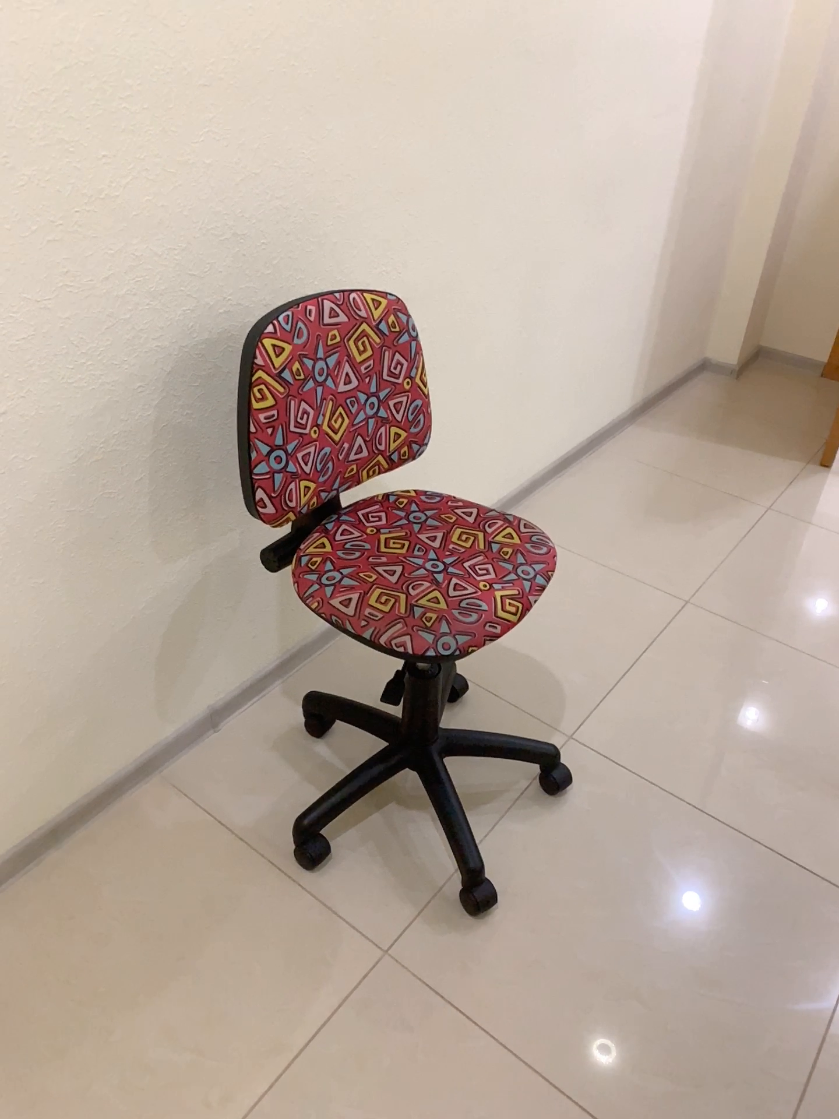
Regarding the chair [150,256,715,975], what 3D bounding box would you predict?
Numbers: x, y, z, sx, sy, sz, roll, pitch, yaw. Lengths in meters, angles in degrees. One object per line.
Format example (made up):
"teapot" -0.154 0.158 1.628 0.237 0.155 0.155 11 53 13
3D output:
"chair" 0.016 0.067 1.405 0.541 0.885 0.552 25 40 28
